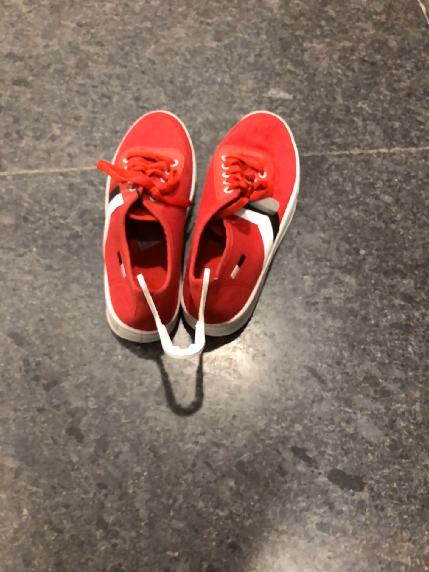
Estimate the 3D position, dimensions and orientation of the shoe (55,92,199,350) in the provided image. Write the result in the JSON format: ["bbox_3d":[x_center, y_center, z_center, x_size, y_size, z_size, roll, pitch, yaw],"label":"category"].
[{"bbox_3d":[-0.071,-0.066,0.464,0.101,0.090,0.233,2,64,-1],"label":"shoe"}]

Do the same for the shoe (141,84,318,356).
[{"bbox_3d":[0.021,-0.068,0.463,0.103,0.090,0.234,14,65,5],"label":"shoe"}]
